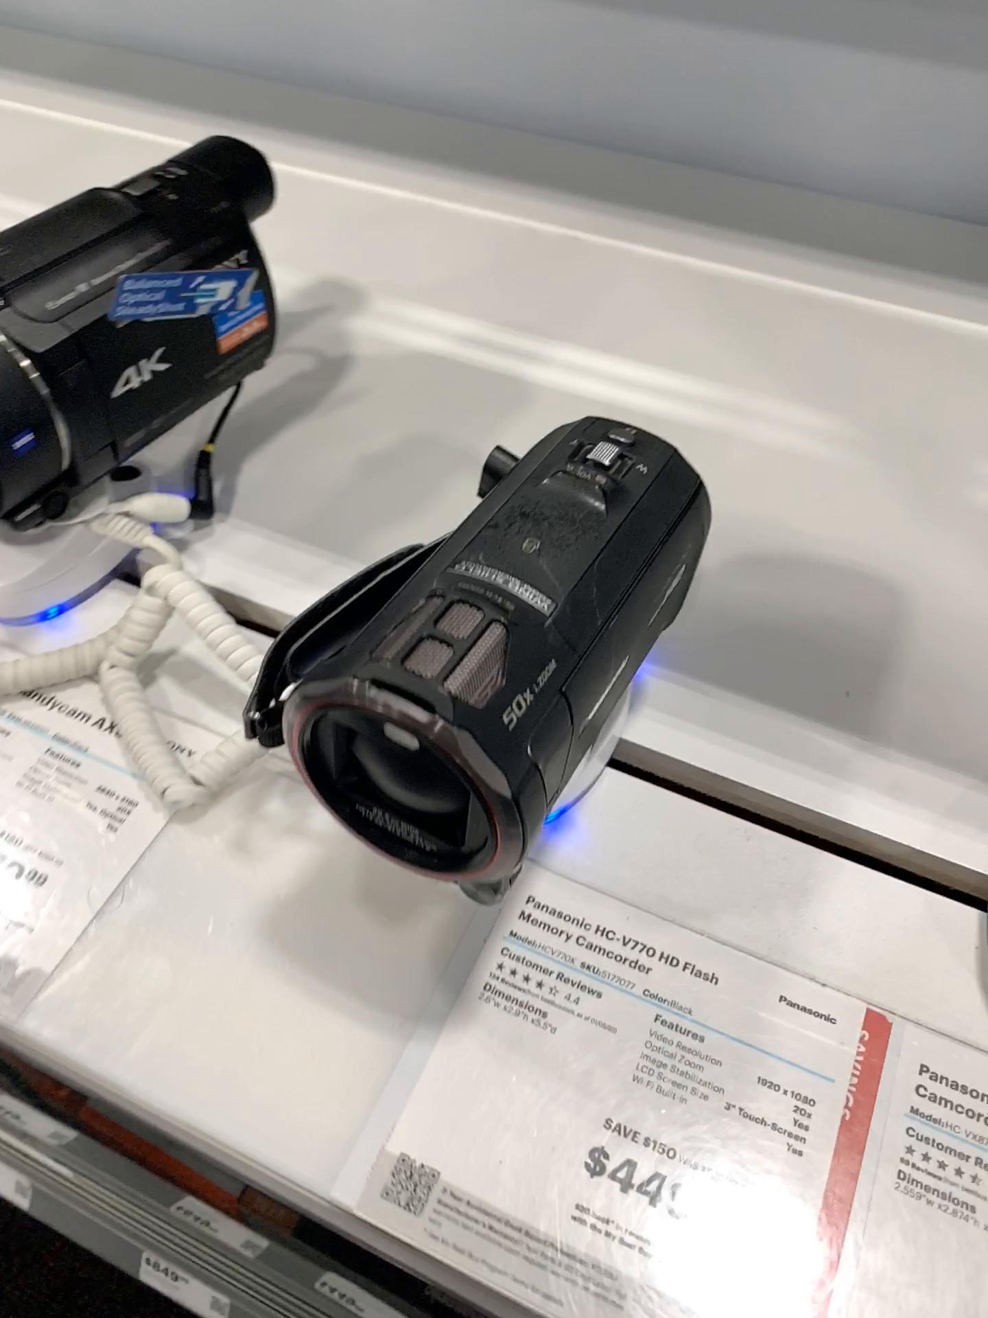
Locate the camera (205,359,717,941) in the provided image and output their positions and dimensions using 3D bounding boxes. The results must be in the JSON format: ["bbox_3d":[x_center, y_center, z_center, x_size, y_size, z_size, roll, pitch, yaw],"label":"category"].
[{"bbox_3d":[-0.001,-0.012,0.266,0.065,0.061,0.139,22,48,16],"label":"camera"}]

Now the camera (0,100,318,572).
[{"bbox_3d":[-0.141,-0.117,0.346,0.071,0.073,0.167,25,51,18],"label":"camera"}]
